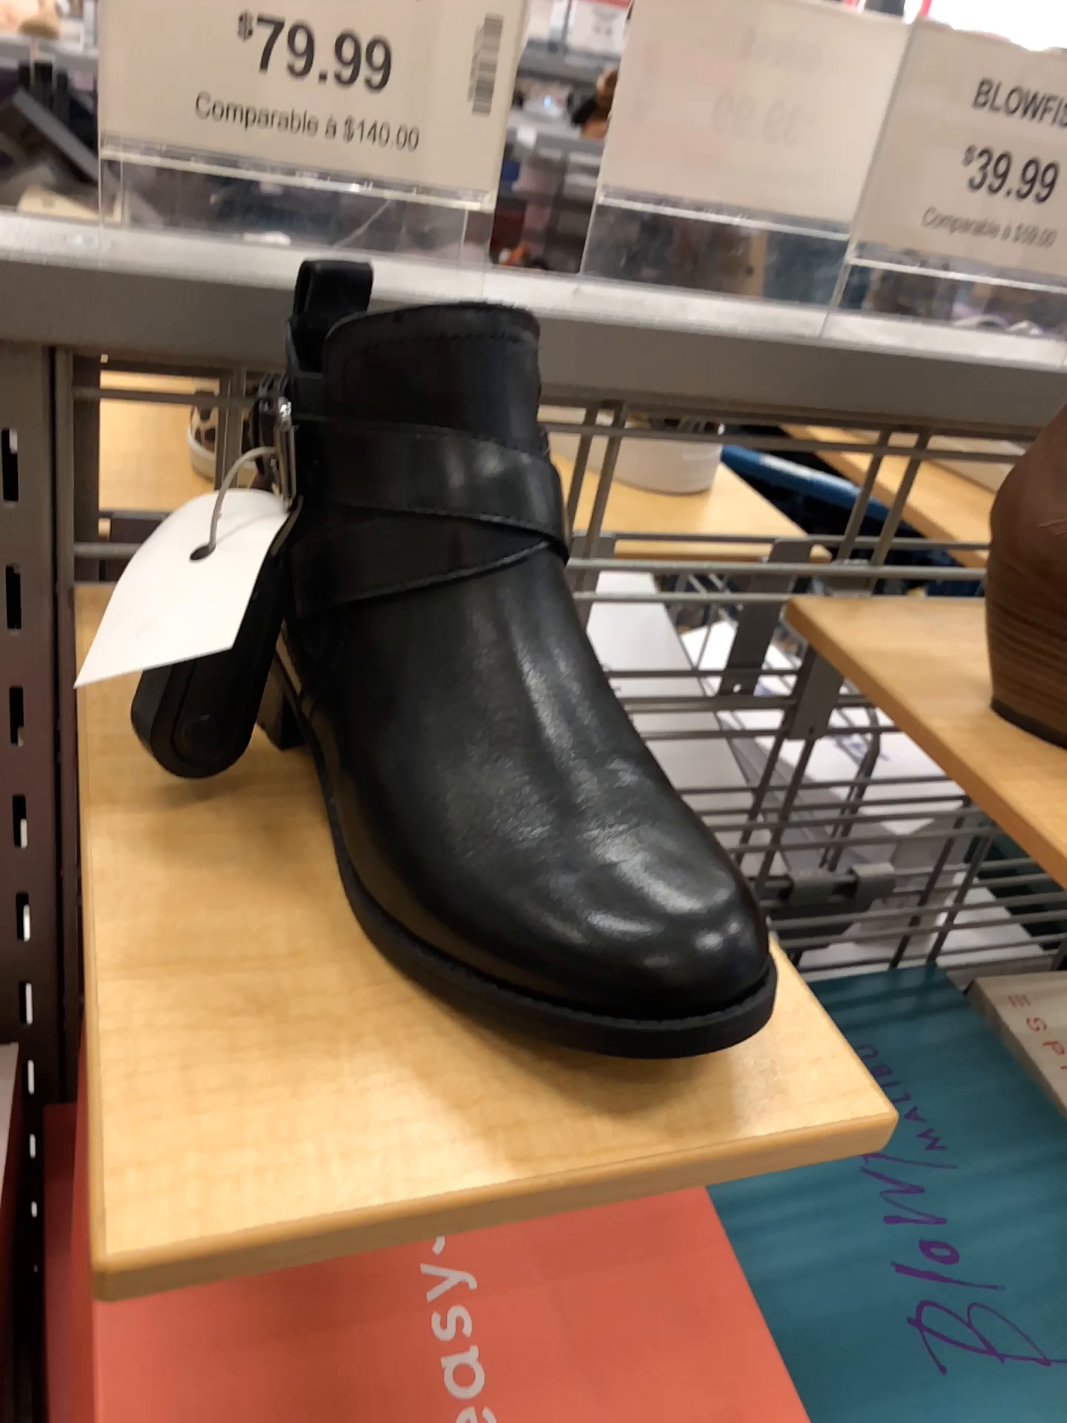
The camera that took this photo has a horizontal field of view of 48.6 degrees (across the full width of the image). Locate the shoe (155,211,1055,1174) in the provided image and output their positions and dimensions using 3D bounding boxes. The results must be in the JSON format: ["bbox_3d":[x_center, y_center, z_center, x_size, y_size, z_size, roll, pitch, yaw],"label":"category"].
[{"bbox_3d":[-0.012,-0.028,0.302,0.090,0.133,0.221,-10,37,-34],"label":"shoe"}]
